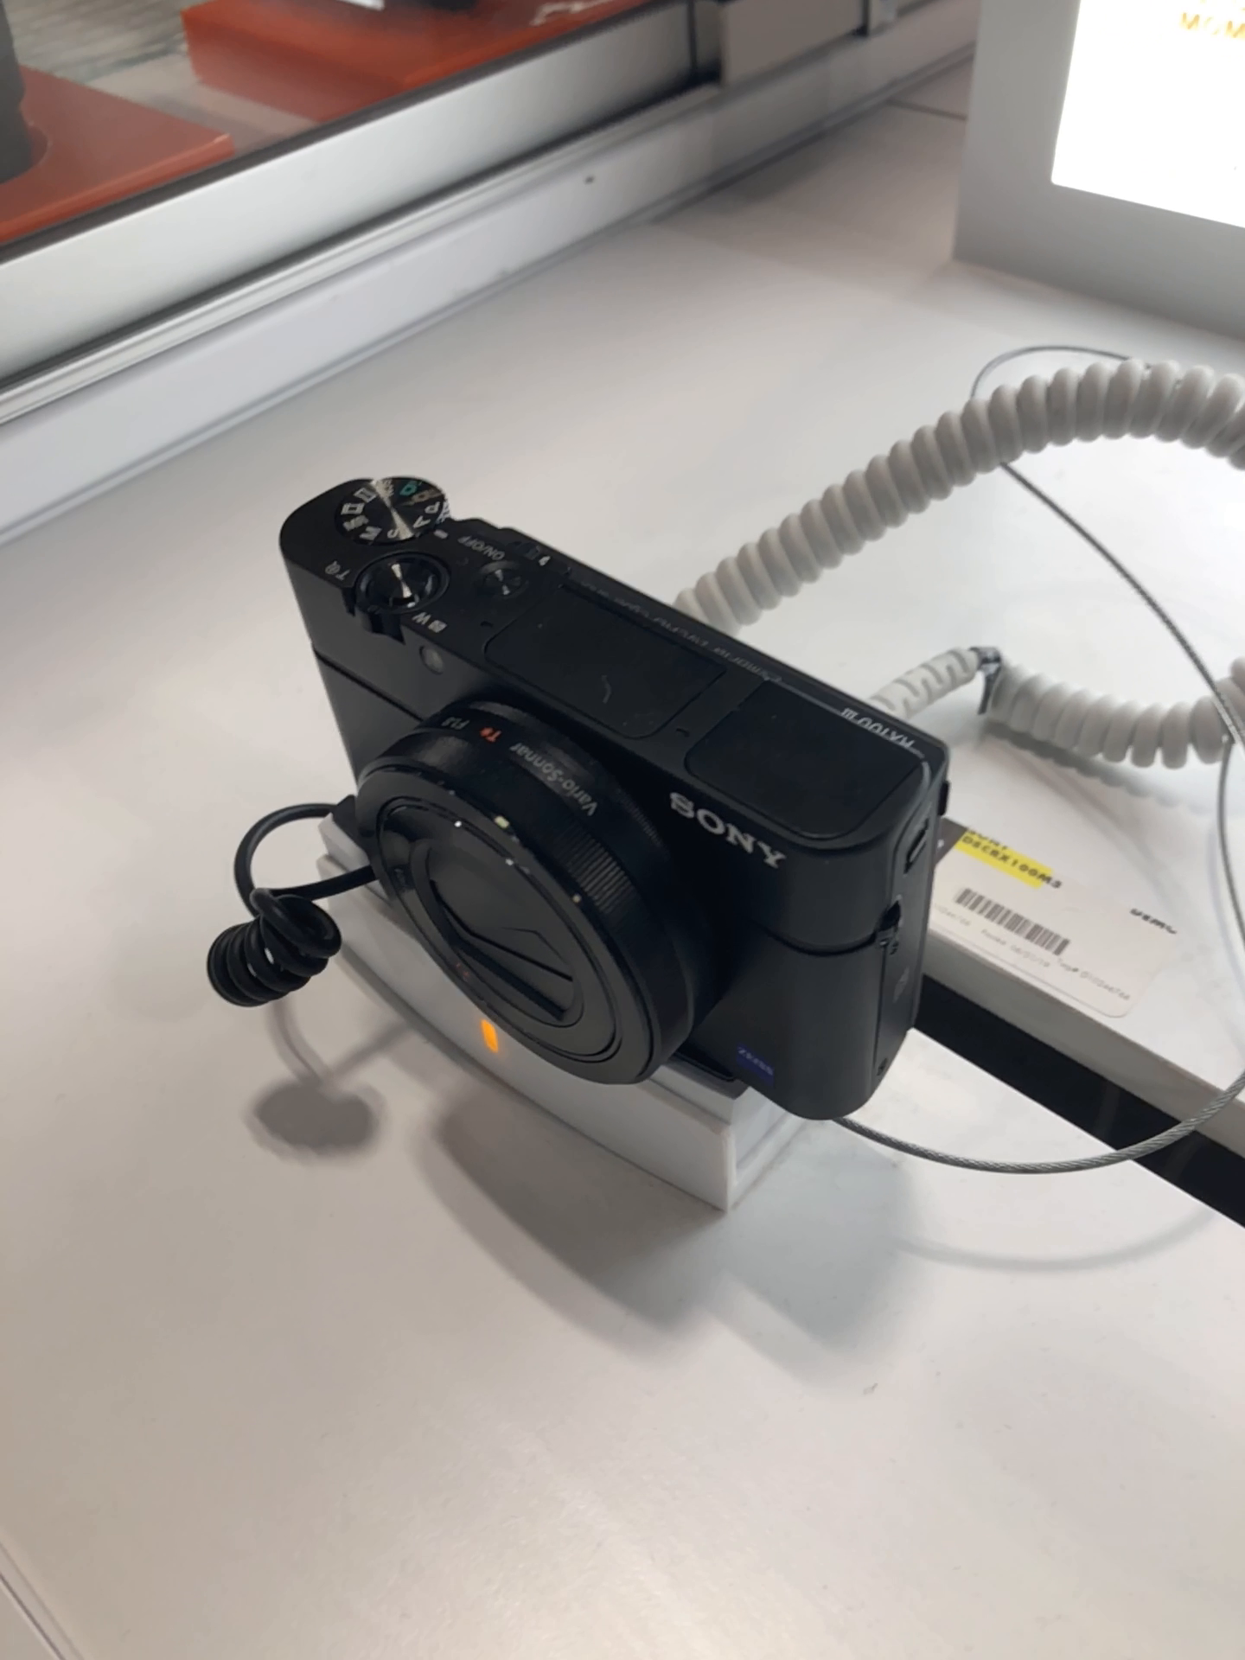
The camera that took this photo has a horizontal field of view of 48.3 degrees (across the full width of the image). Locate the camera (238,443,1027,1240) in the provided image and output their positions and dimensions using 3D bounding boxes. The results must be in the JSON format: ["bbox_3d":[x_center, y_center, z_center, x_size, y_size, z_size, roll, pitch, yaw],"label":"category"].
[{"bbox_3d":[-0.003,-0.002,0.203,0.110,0.070,0.030,32,55,31],"label":"camera"}]
